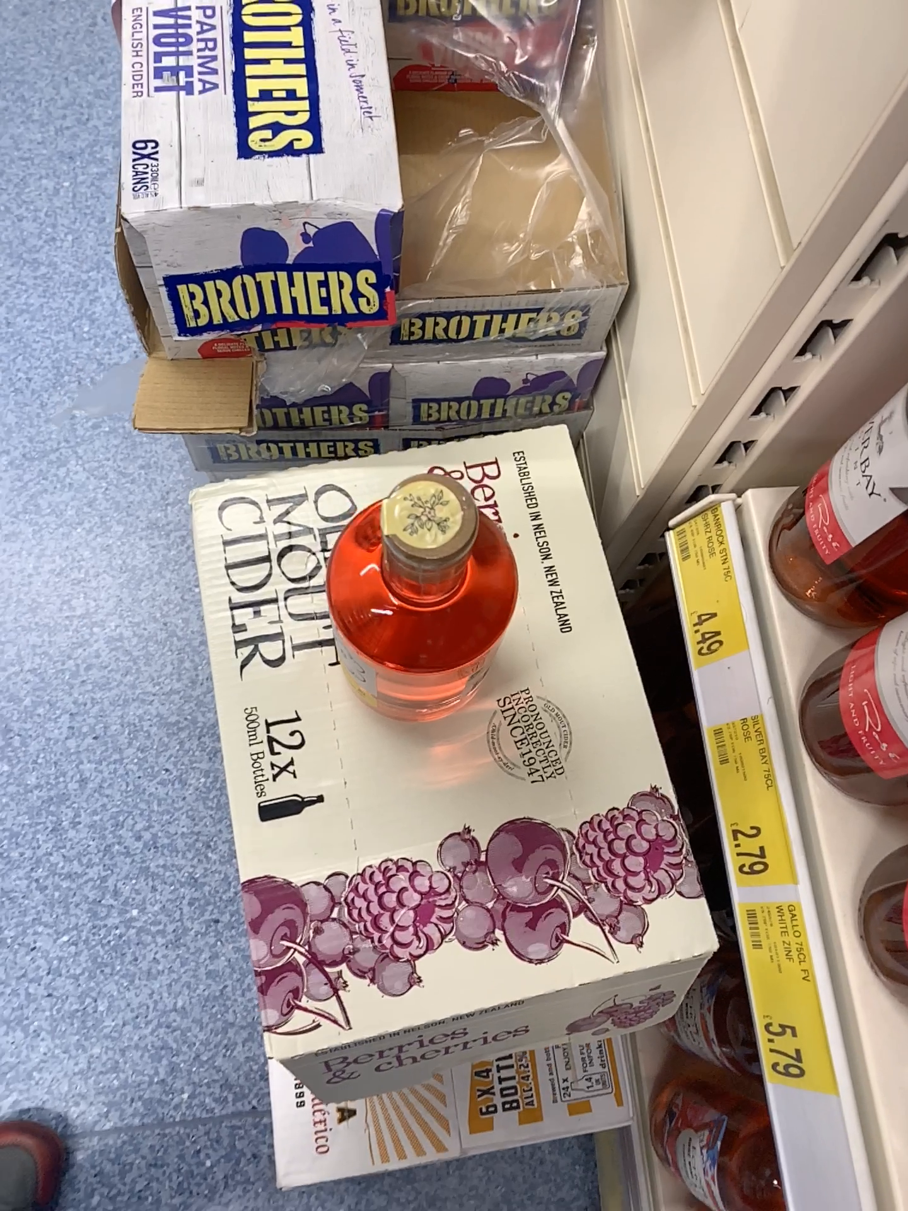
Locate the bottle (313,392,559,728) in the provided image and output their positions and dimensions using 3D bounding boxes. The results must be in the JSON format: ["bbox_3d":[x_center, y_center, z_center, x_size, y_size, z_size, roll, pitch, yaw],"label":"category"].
[{"bbox_3d":[-0.013,-0.006,0.382,0.076,0.176,0.077,1,71,-4],"label":"bottle"}]
